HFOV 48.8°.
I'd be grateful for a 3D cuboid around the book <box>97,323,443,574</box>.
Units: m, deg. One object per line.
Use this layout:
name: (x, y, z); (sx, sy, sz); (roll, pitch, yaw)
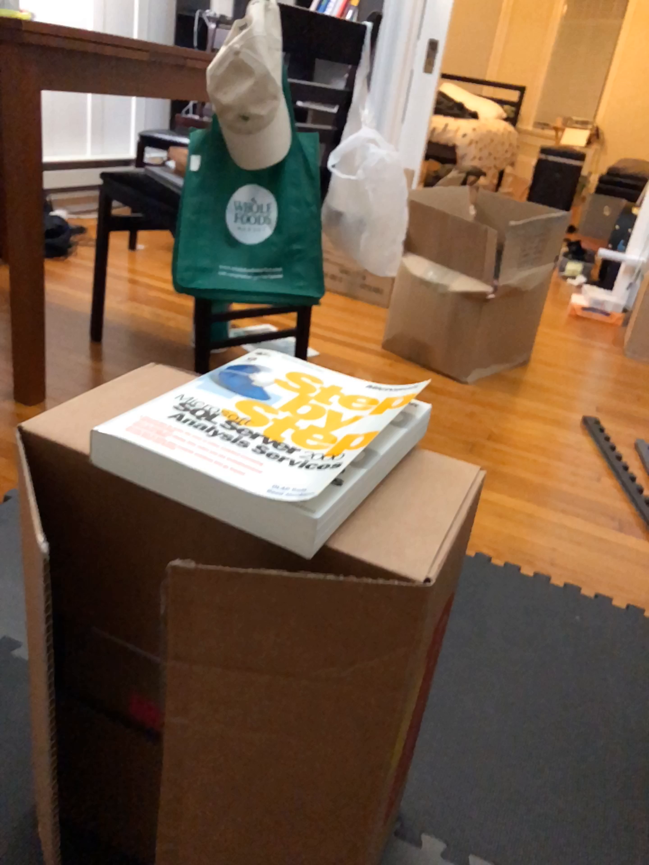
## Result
book: (-0.029, -0.007, 0.594); (0.200, 0.050, 0.241); (20, 29, 13)
